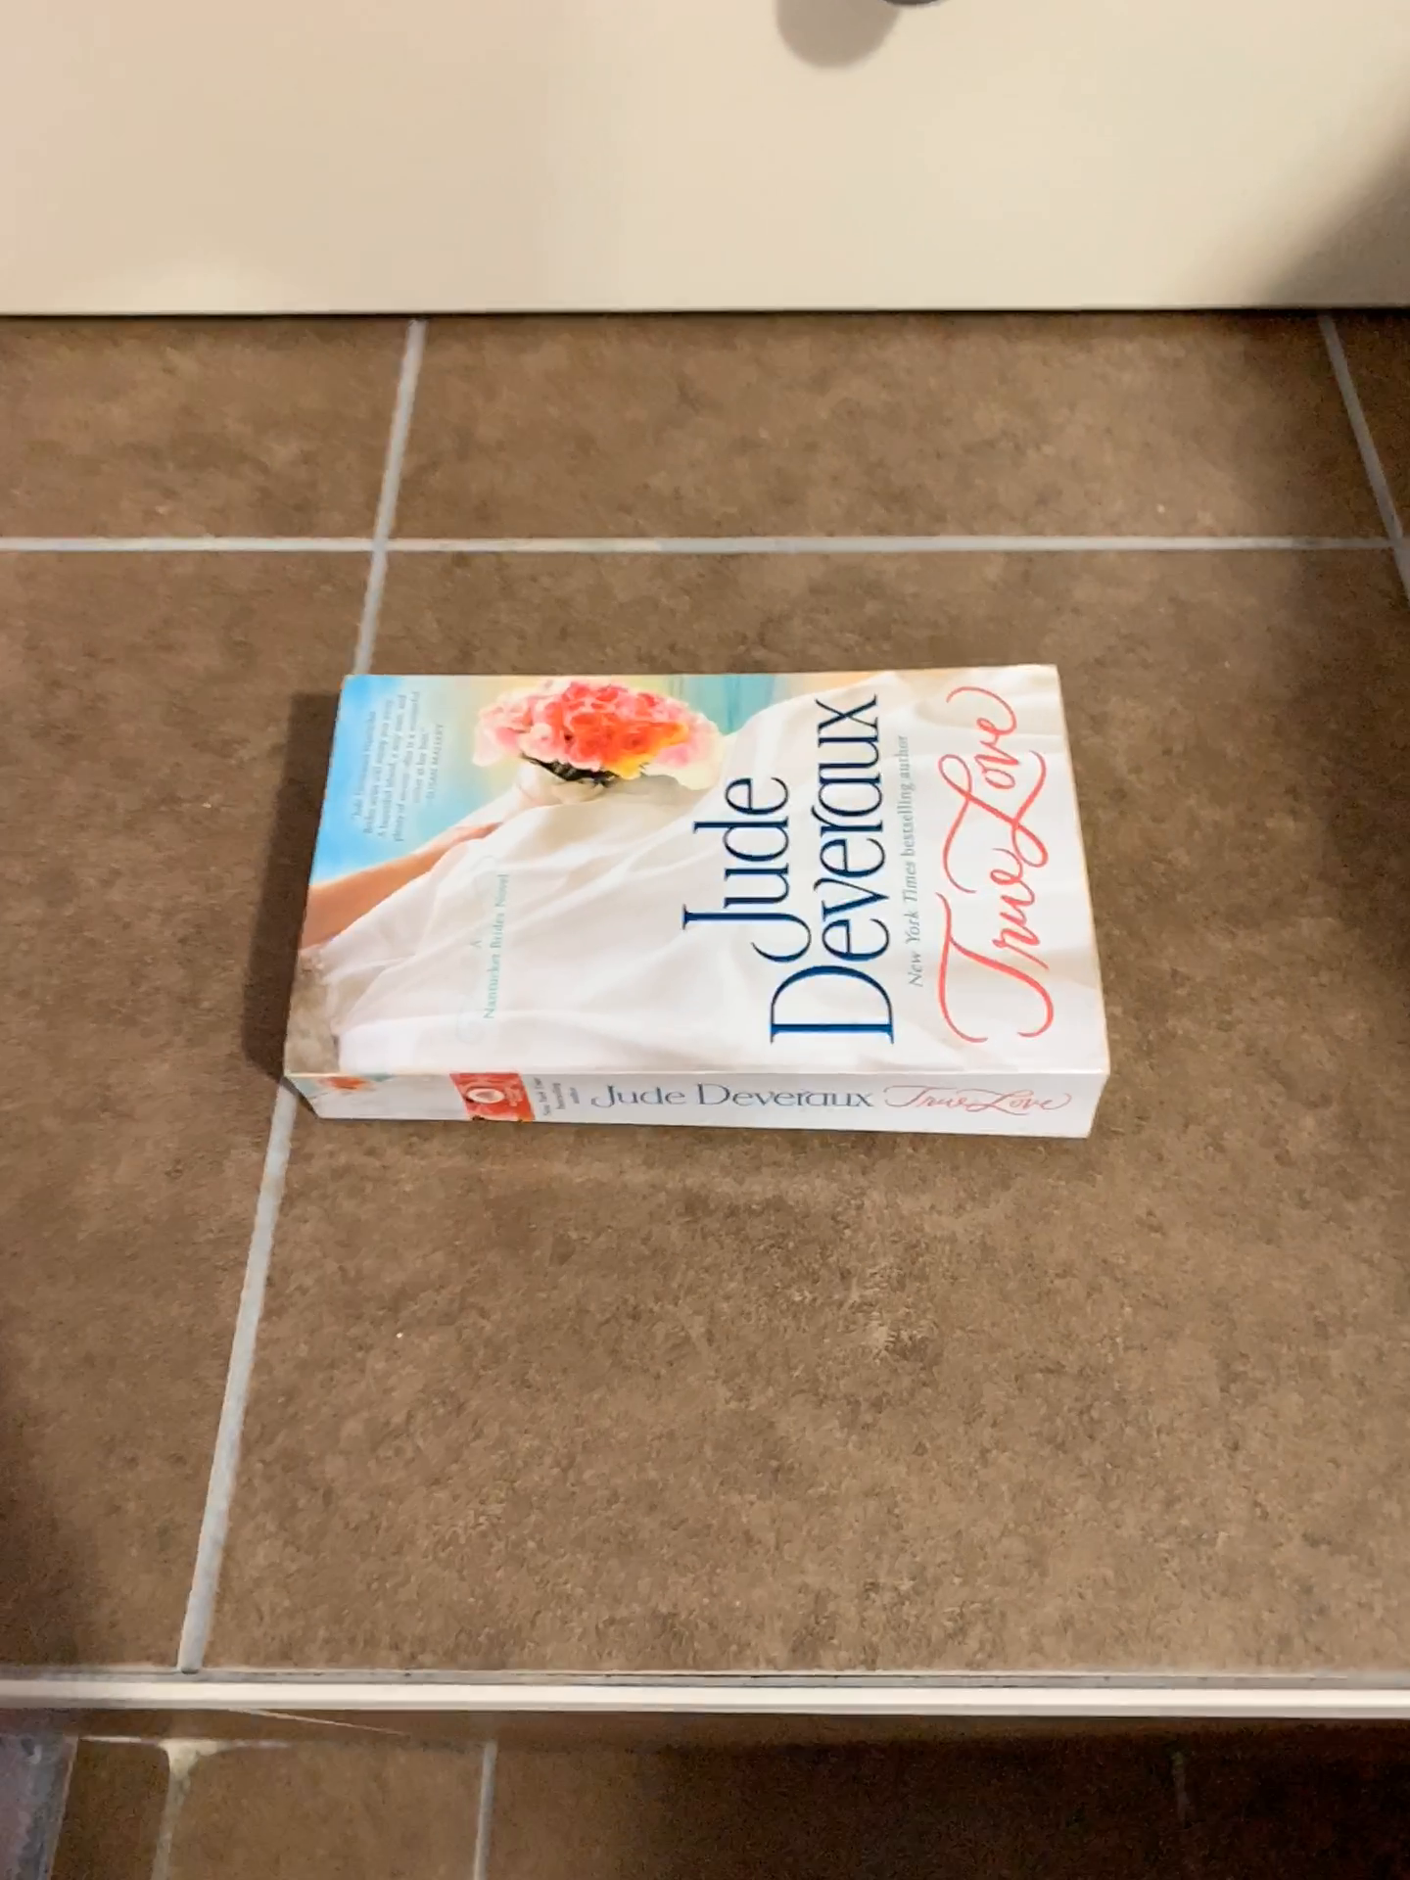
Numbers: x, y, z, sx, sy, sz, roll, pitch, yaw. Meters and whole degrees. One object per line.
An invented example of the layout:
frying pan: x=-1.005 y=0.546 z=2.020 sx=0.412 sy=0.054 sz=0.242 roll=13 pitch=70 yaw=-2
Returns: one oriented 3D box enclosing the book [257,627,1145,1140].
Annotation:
book: x=0.001 y=-0.015 z=0.339 sx=0.179 sy=0.047 sz=0.107 roll=2 pitch=60 yaw=2
